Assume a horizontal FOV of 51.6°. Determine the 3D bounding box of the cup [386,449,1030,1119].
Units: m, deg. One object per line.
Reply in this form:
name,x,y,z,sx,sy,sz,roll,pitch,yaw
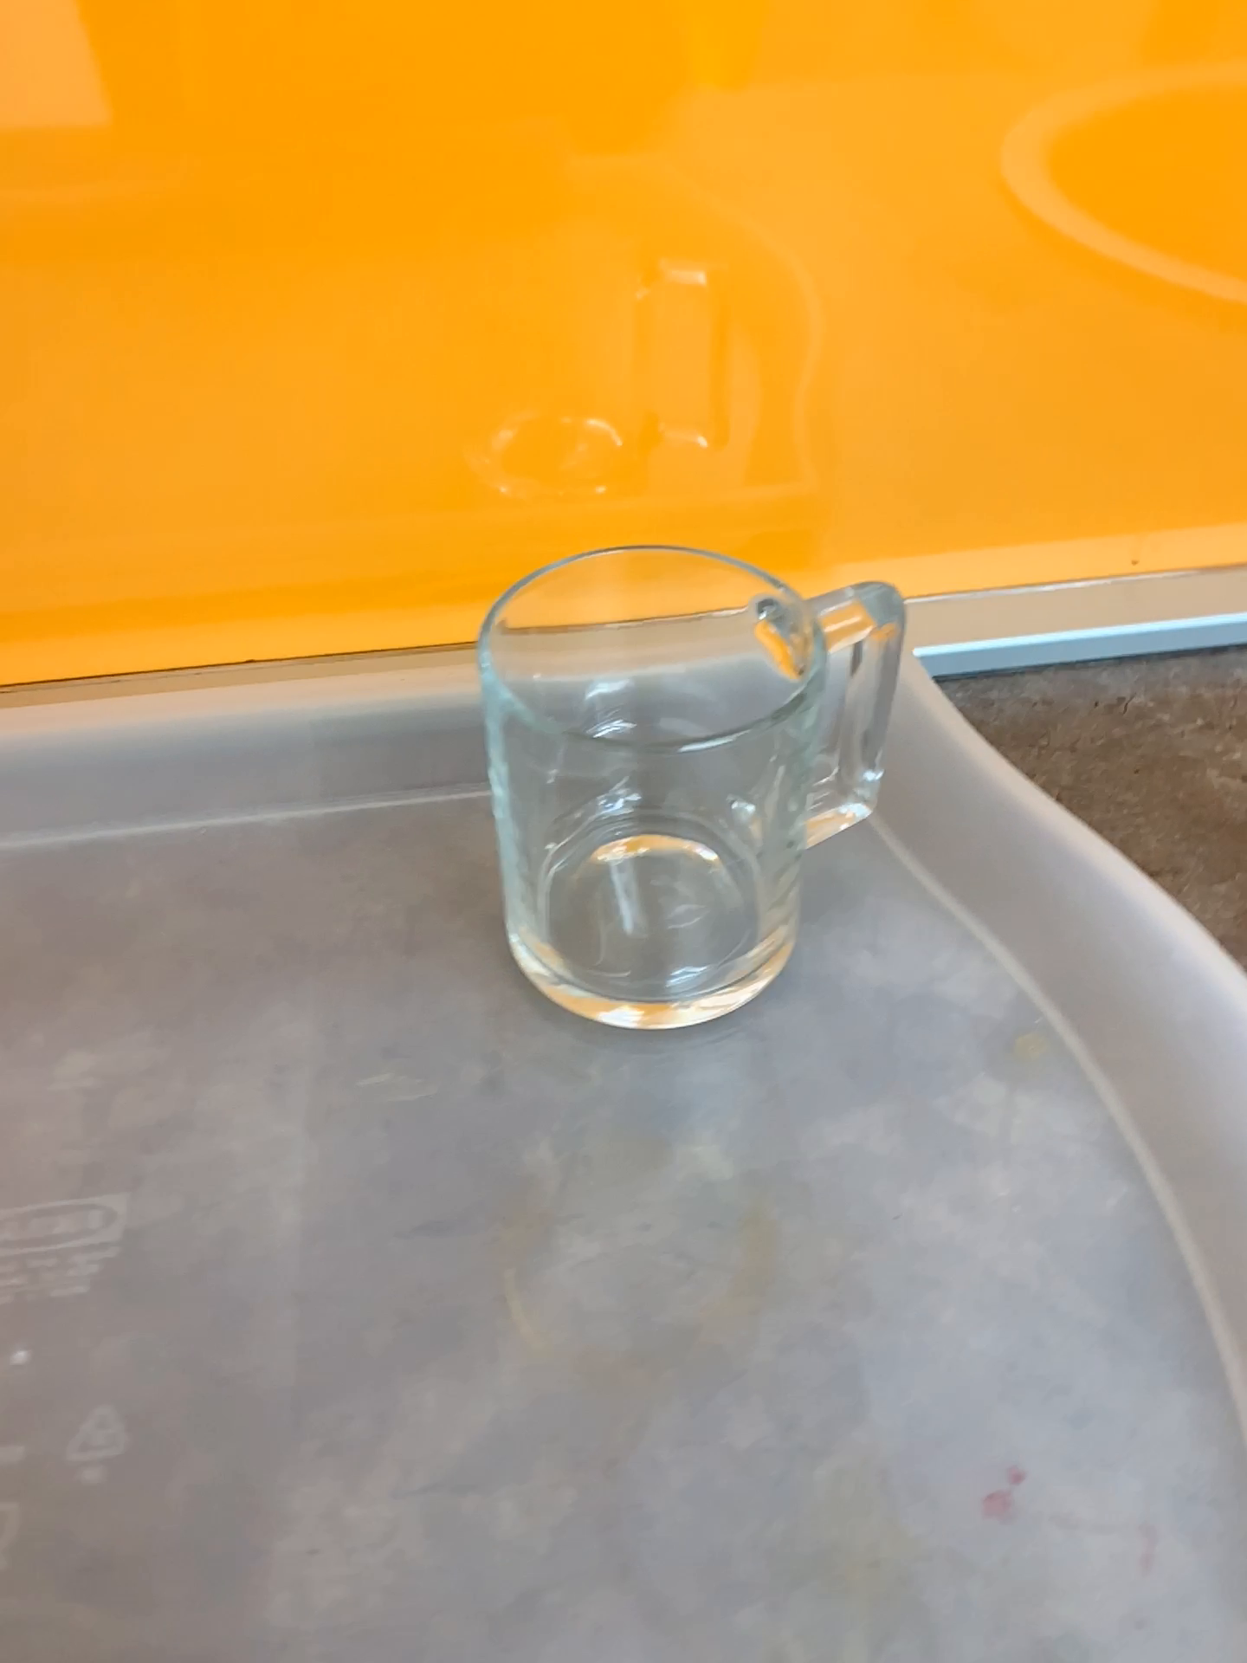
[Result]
cup,0.015,-0.013,0.306,0.109,0.104,0.081,-20,48,-20
